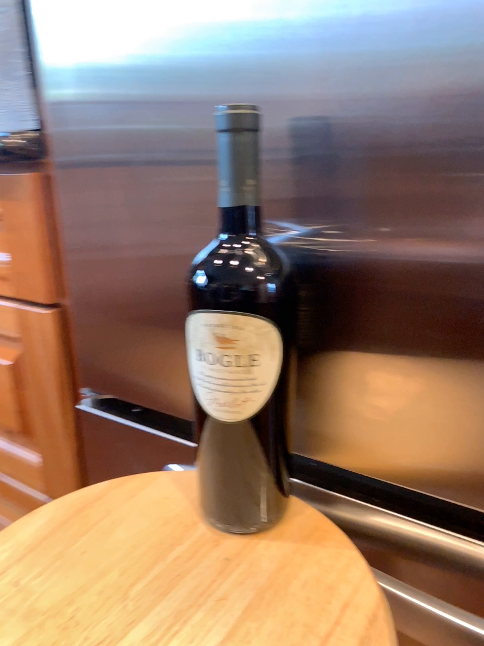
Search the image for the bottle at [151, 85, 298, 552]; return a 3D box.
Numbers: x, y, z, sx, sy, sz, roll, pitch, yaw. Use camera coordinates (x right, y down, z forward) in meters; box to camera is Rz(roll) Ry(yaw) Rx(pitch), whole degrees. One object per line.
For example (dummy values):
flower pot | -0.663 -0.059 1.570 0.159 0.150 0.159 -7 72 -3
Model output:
bottle | -0.004 0.005 0.373 0.080 0.319 0.080 -1 17 0
